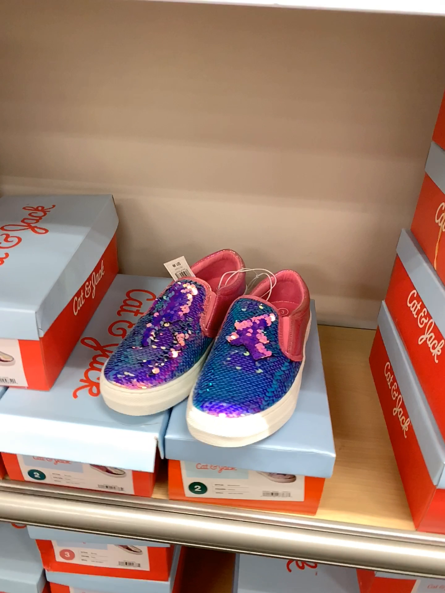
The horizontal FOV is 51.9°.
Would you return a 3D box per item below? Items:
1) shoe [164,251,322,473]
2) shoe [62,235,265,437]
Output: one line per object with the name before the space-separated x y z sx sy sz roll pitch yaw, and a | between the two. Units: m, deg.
shoe | 0.030 0.043 0.428 0.090 0.074 0.211 10 34 14
shoe | -0.043 0.022 0.457 0.100 0.074 0.211 15 35 20
